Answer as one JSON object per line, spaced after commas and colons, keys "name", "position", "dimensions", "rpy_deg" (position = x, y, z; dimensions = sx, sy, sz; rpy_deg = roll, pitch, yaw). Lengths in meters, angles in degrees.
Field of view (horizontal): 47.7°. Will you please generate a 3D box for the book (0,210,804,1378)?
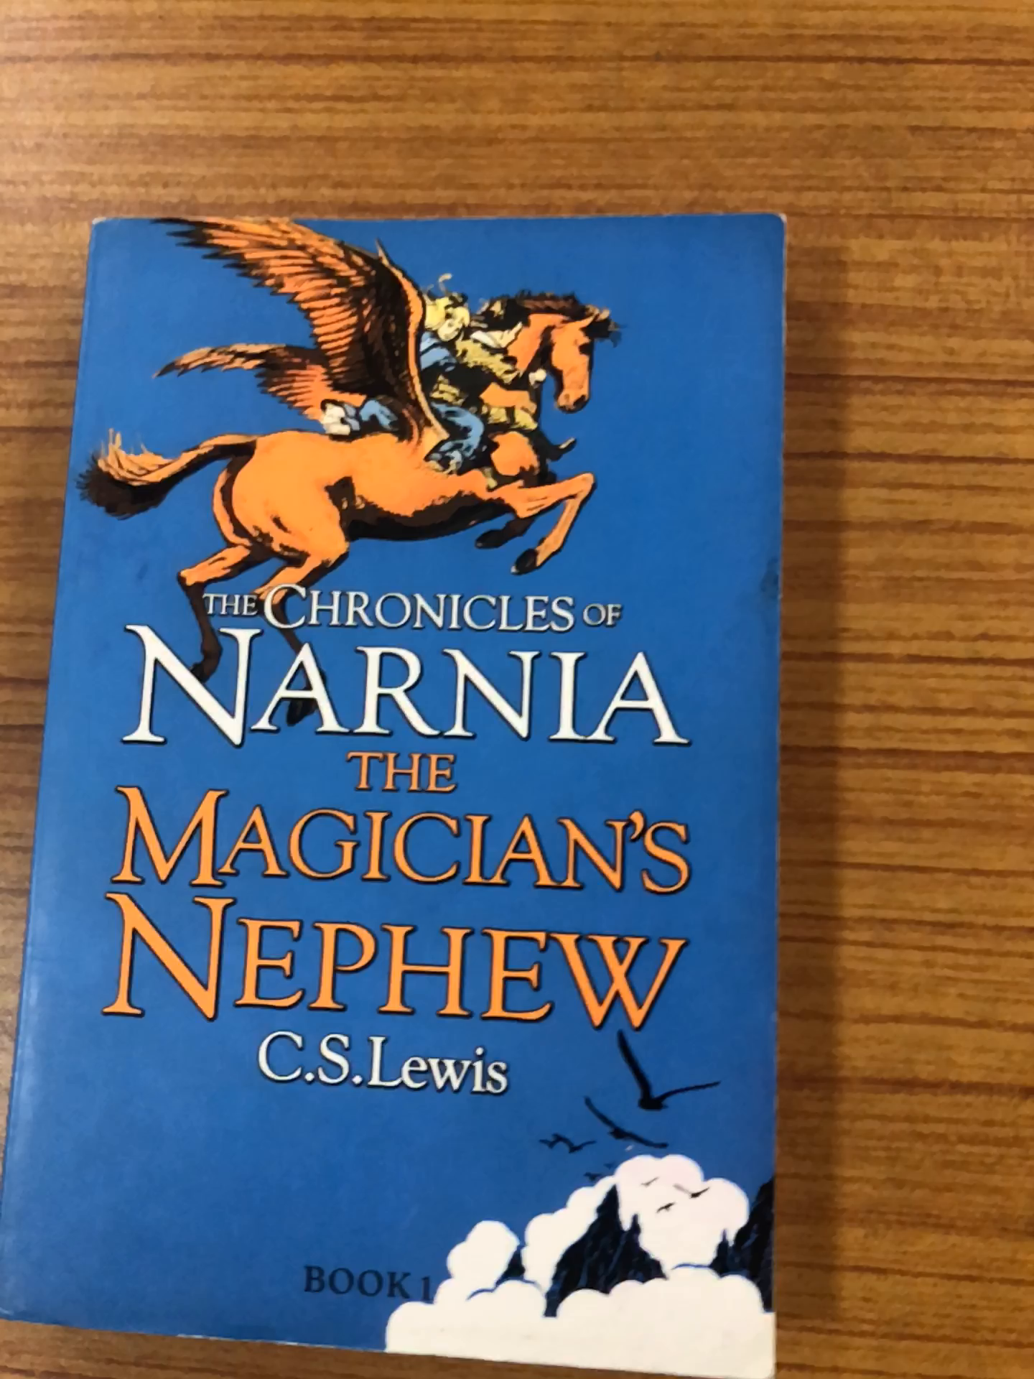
{"name": "book", "position": [-0.023, 0.013, 0.207], "dimensions": [0.140, 0.030, 0.190], "rpy_deg": [2, 83, 5]}
